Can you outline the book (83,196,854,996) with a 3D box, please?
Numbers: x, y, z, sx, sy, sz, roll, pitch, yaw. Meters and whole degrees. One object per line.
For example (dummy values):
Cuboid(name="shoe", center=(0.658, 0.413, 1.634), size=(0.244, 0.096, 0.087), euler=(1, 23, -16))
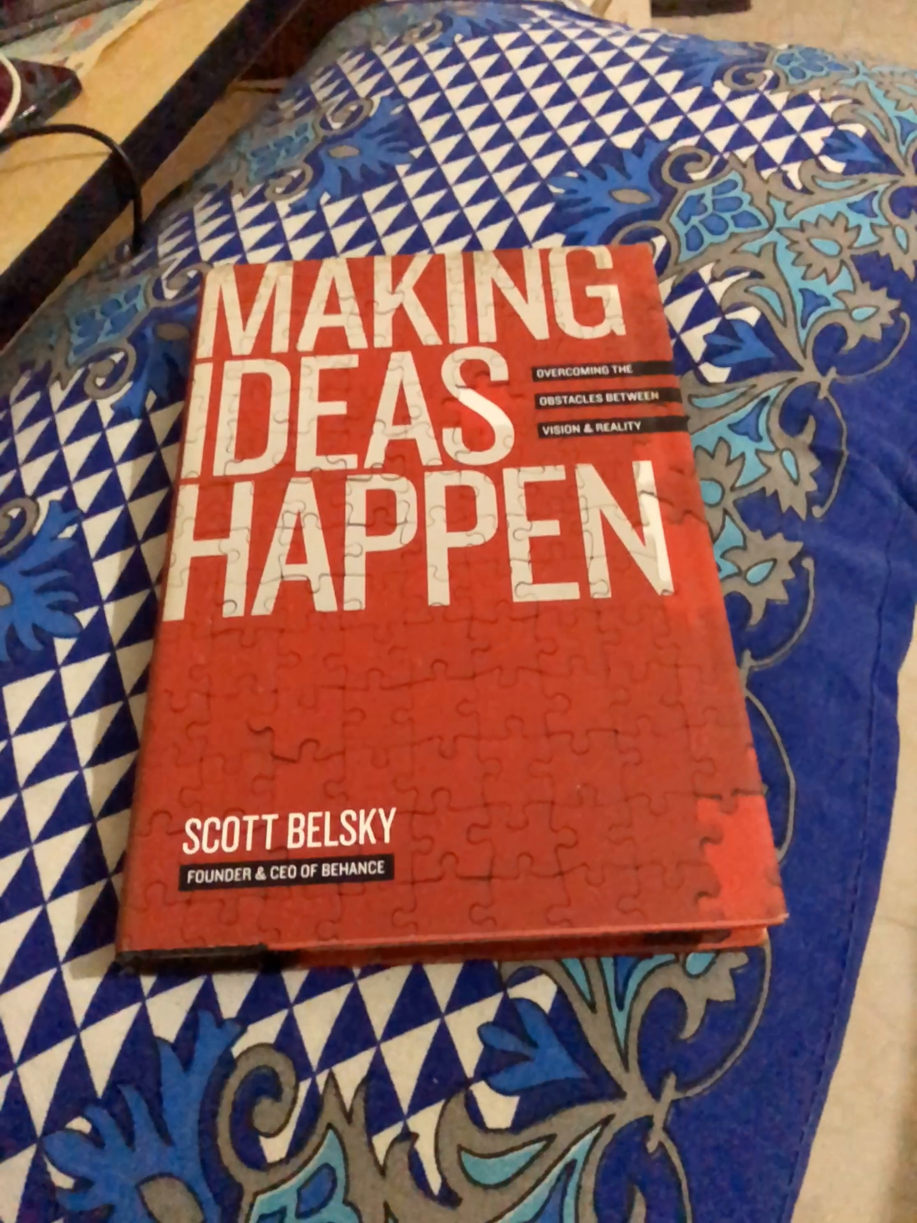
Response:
Cuboid(name="book", center=(-0.003, -0.027, 0.295), size=(0.160, 0.030, 0.251), euler=(-3, 56, 0))
